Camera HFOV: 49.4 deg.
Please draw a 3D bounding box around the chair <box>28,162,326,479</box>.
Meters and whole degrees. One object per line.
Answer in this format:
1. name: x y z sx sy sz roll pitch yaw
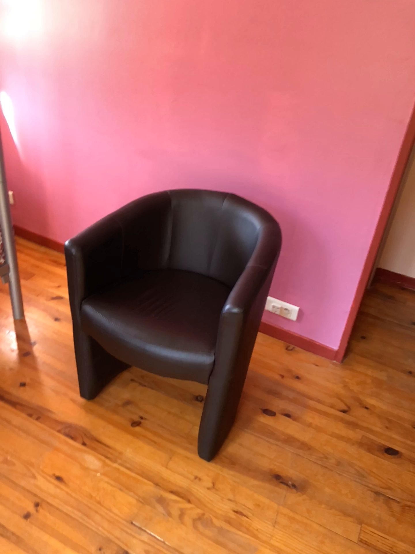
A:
1. chair: -0.080 0.084 1.497 0.670 0.646 0.594 19 34 20
